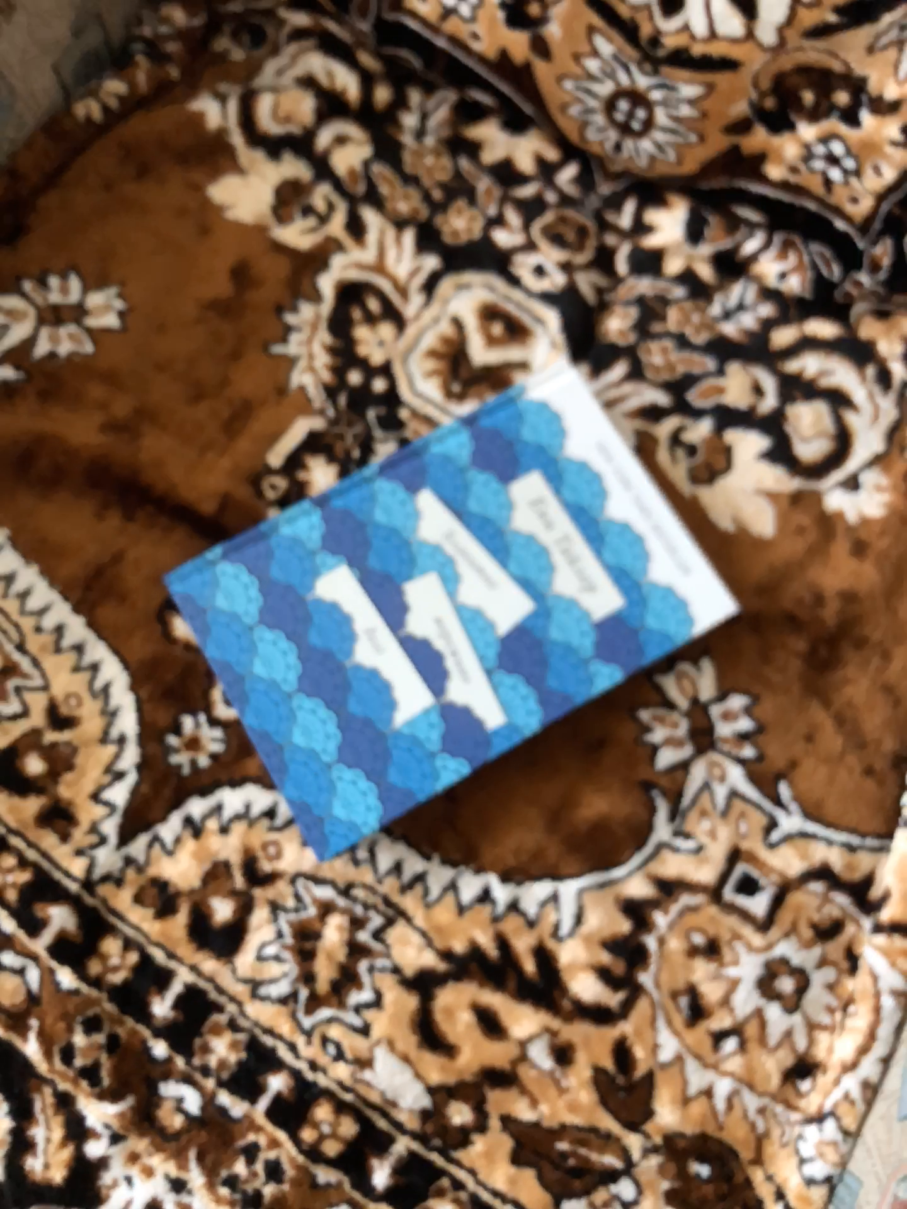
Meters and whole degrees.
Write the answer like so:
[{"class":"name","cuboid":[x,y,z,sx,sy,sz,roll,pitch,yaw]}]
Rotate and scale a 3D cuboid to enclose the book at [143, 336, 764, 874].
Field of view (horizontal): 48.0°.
[{"class":"book","cuboid":[0.001,-0.006,0.471,0.233,0.030,0.154,-29,78,-12]}]
